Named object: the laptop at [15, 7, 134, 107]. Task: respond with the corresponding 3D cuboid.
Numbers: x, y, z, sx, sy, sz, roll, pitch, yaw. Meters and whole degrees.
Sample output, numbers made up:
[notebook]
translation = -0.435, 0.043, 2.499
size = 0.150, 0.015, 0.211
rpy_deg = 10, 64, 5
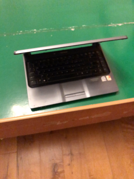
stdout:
[laptop]
translation = 0.017, -0.109, 0.500
size = 0.316, 0.171, 0.227
rpy_deg = -10, 64, -9
